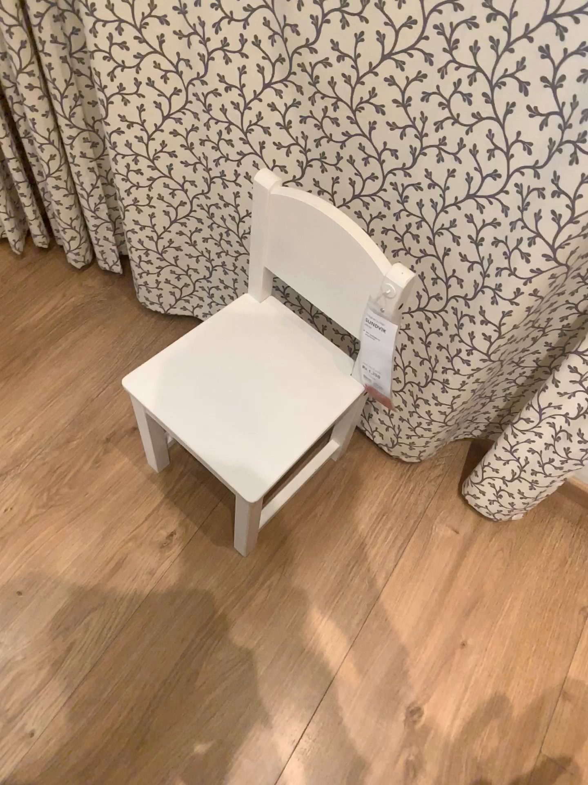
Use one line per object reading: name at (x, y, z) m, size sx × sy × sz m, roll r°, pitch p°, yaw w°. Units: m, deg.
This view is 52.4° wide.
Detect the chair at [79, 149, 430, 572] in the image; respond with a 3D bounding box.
chair at (-0.064, 0.000, 0.917) m, size 0.270 × 0.568 × 0.291 m, roll 39°, pitch 62°, yaw 16°
